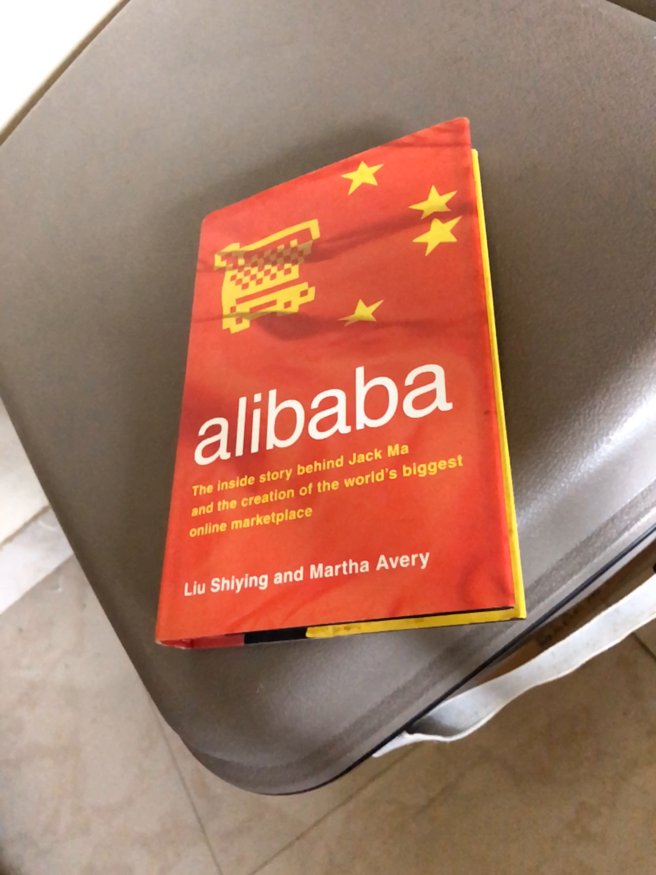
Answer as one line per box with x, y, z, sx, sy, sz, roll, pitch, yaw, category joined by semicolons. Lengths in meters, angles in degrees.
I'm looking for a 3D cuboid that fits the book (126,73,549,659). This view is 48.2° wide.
0.000;-0.039;0.342;0.160;0.040;0.260;-11;61;20;book
